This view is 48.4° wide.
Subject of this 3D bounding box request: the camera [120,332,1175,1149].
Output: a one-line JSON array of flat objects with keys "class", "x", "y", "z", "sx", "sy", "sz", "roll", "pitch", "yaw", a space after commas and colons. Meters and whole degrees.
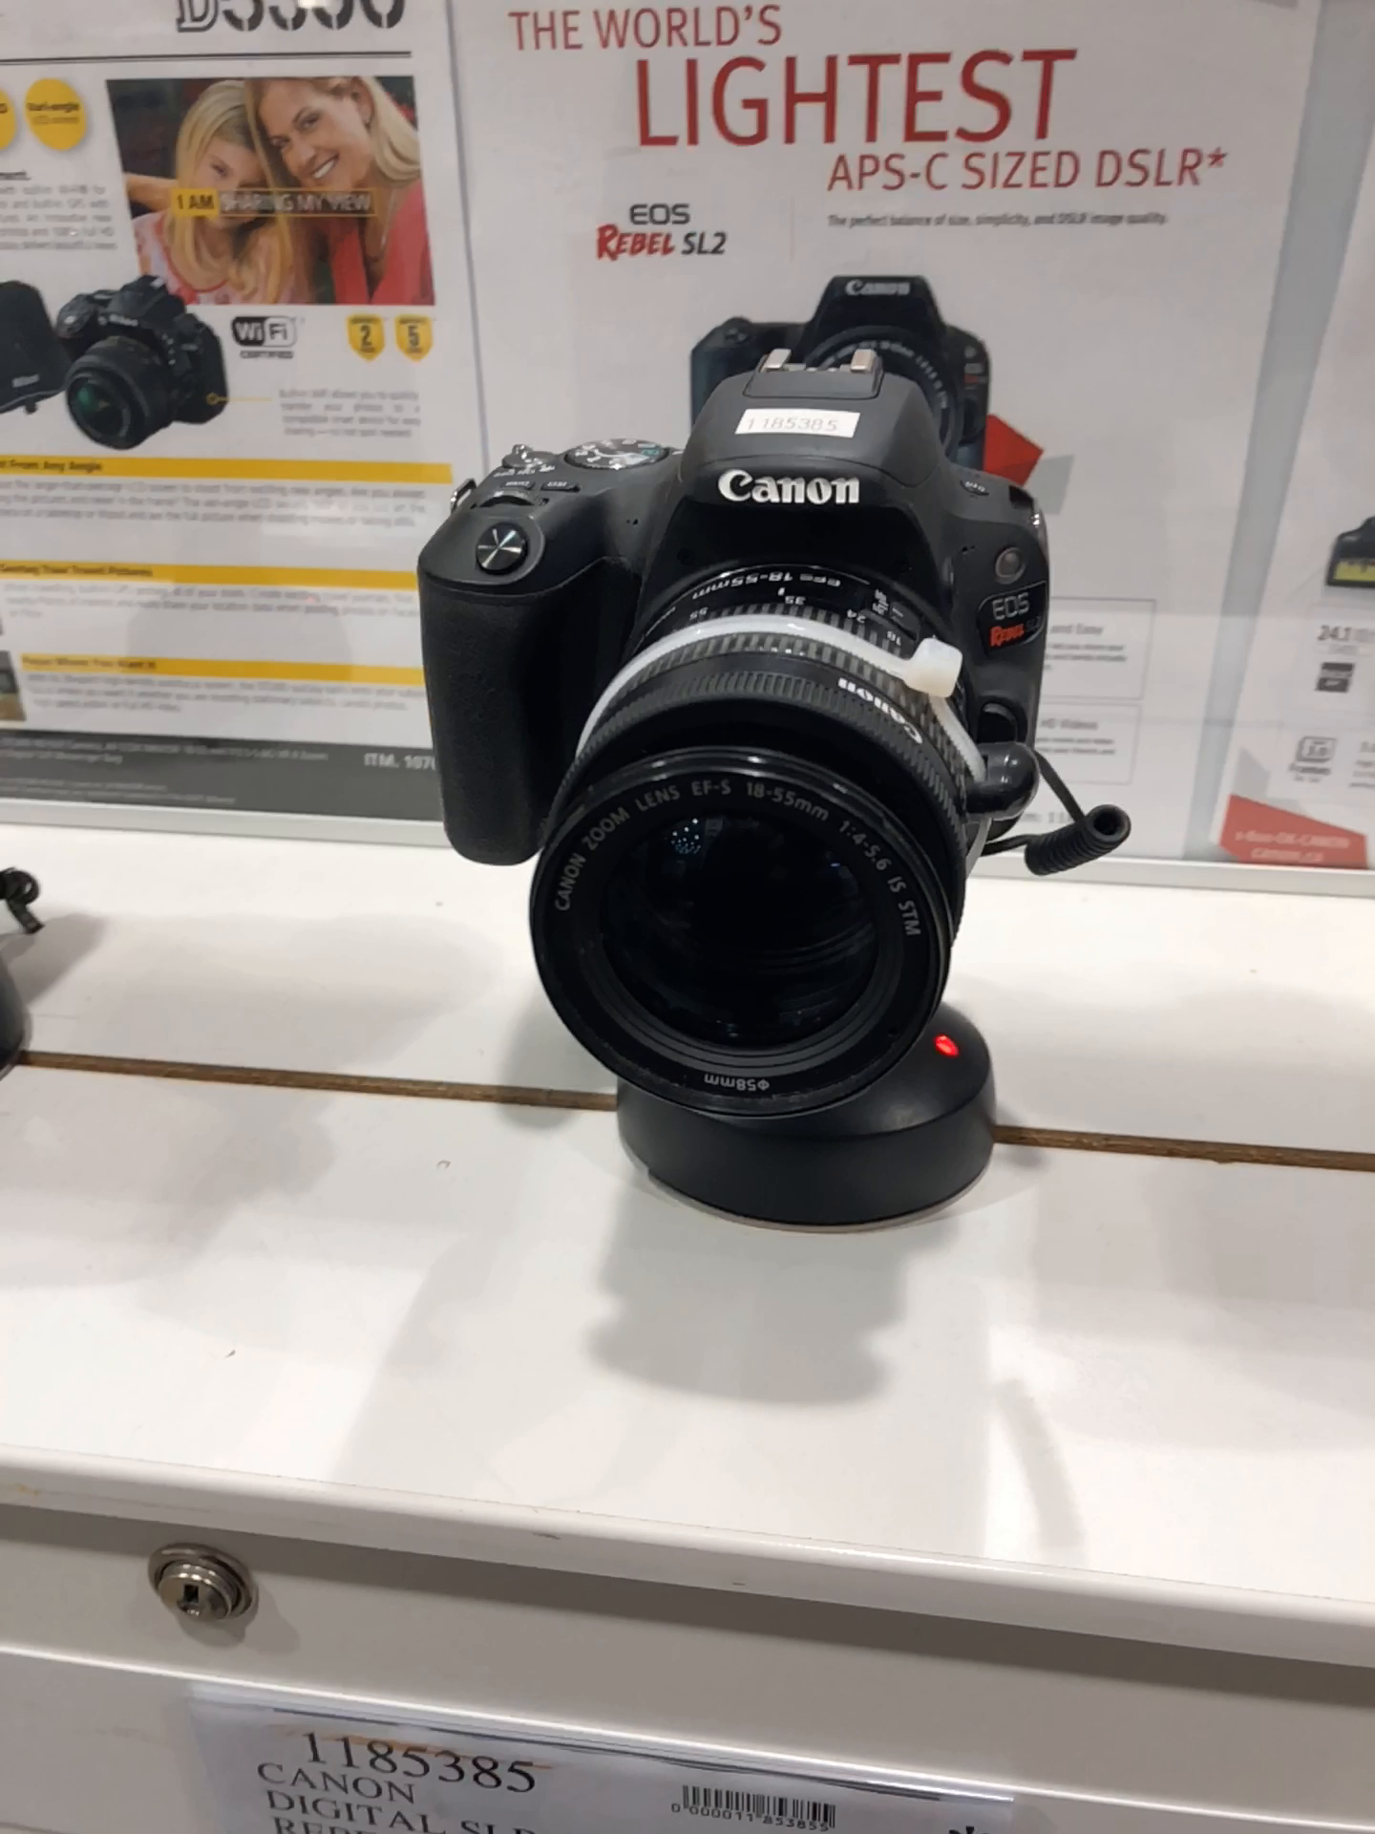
[{"class": "camera", "x": 0.002, "y": -0.043, "z": 0.269, "sx": 0.130, "sy": 0.090, "sz": 0.141, "roll": 3, "pitch": 30, "yaw": 6}]
